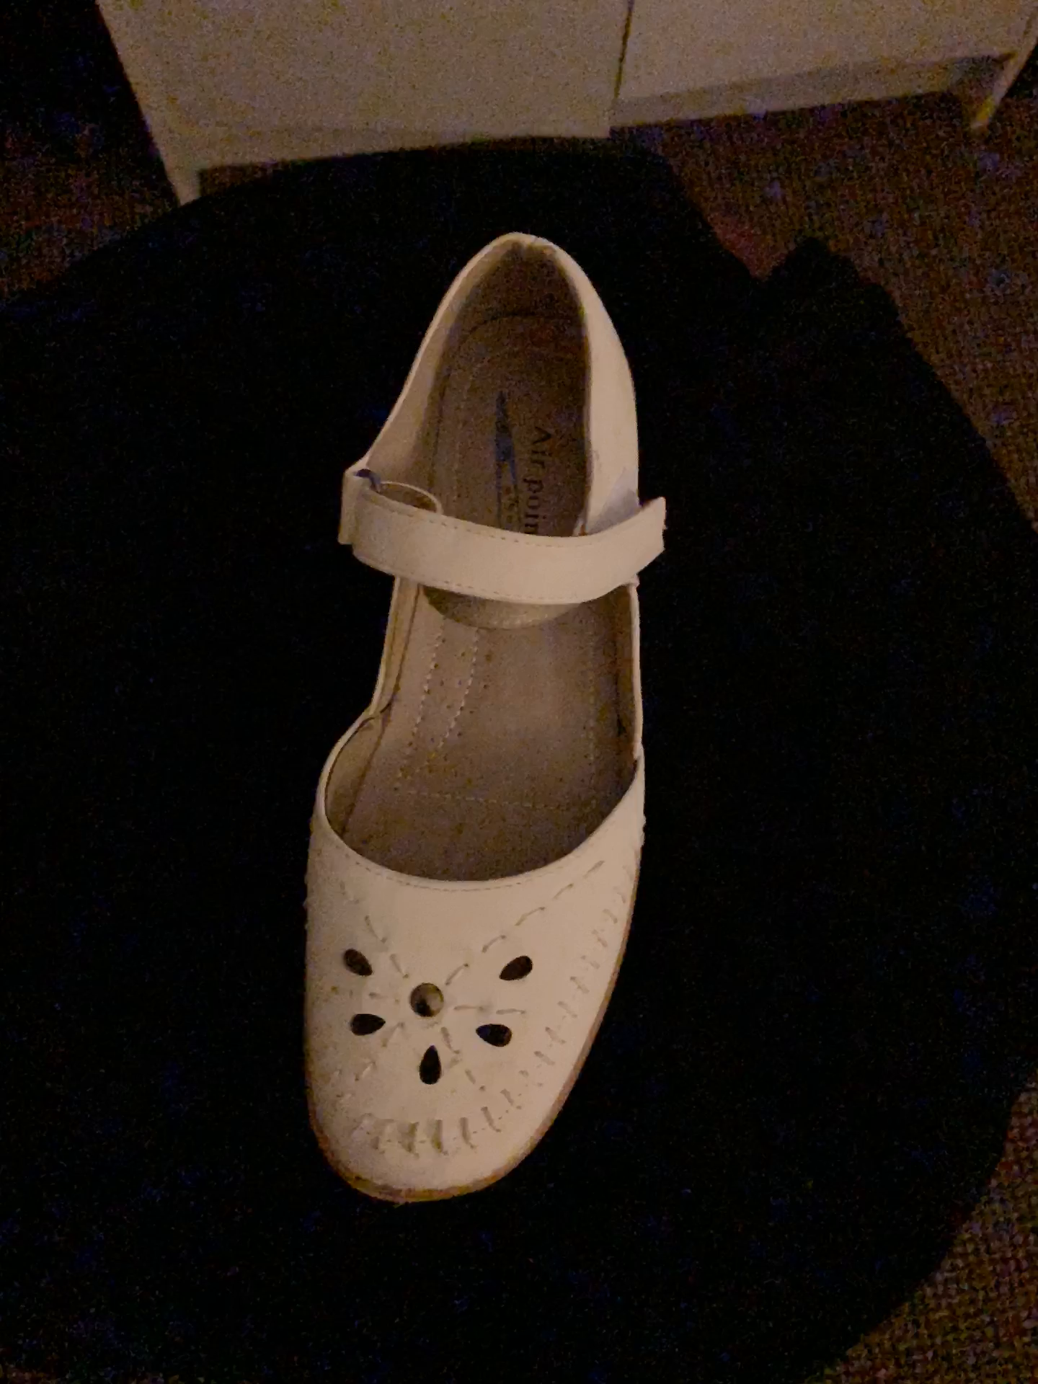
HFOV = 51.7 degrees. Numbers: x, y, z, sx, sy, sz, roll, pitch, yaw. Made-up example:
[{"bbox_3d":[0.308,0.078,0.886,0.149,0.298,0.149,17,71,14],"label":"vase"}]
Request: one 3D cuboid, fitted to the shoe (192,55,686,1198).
[{"bbox_3d":[-0.014,-0.020,0.293,0.097,0.100,0.271,2,76,-1],"label":"shoe"}]
